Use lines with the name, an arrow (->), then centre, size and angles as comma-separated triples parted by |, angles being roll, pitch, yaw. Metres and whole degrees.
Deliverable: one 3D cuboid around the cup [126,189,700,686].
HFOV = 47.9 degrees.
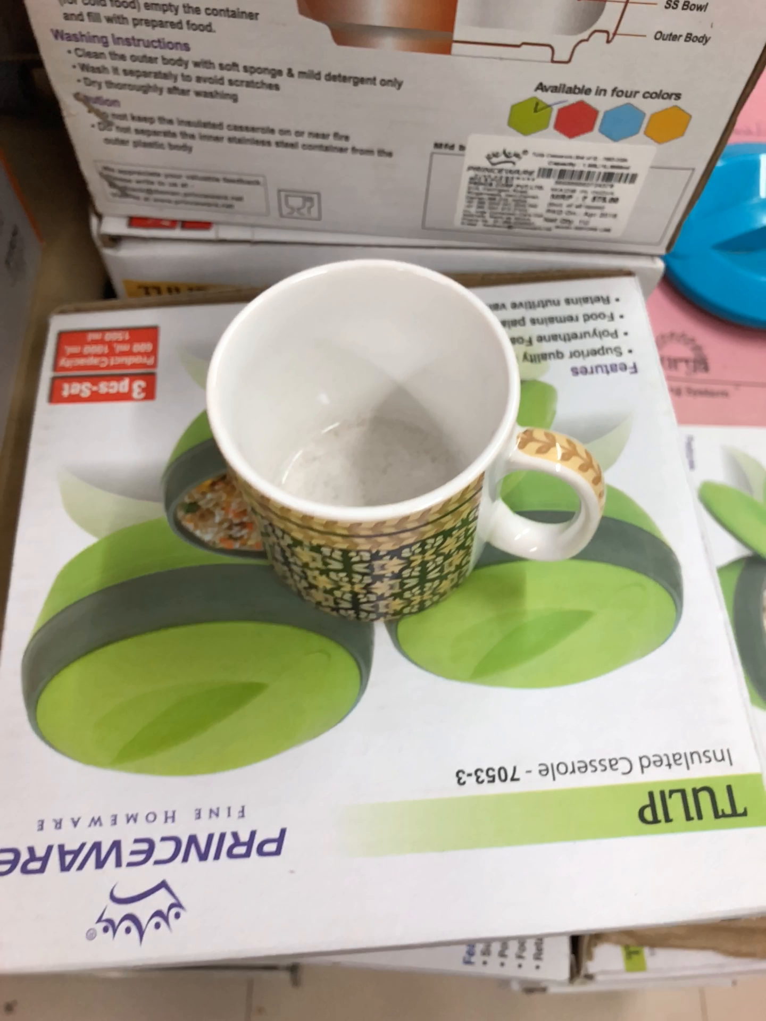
cup -> 0.010, -0.015, 0.227 | 0.110, 0.090, 0.070 | 14, 63, 9
